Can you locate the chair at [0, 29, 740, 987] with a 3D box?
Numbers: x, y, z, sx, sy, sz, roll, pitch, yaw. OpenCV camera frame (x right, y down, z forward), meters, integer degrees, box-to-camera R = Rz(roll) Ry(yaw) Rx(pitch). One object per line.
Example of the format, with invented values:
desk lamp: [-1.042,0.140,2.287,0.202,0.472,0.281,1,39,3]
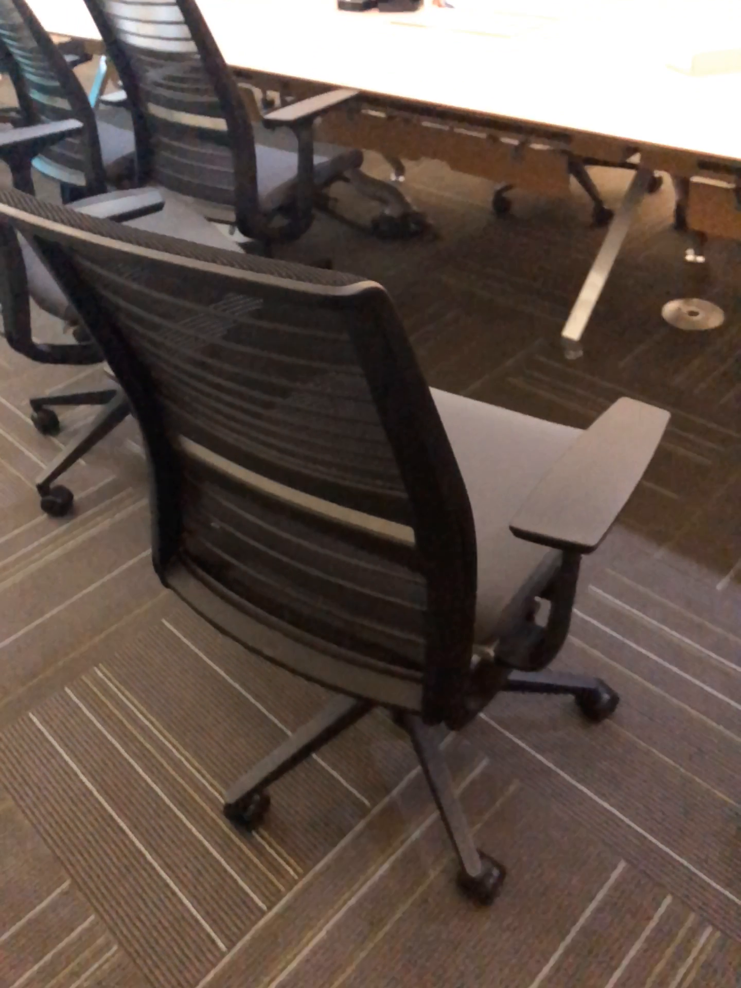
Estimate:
chair: [0.014,-0.031,1.047,0.721,0.856,0.662,19,45,27]
